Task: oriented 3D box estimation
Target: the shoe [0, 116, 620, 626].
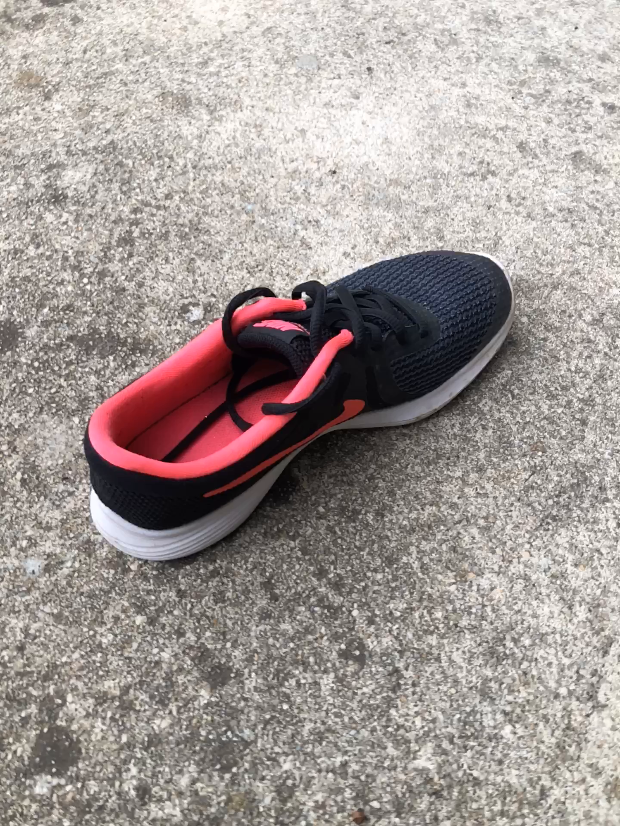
[{"bbox_3d":[0.008,-0.029,0.353,0.273,0.100,0.110,-32,65,-17],"label":"shoe"}]
